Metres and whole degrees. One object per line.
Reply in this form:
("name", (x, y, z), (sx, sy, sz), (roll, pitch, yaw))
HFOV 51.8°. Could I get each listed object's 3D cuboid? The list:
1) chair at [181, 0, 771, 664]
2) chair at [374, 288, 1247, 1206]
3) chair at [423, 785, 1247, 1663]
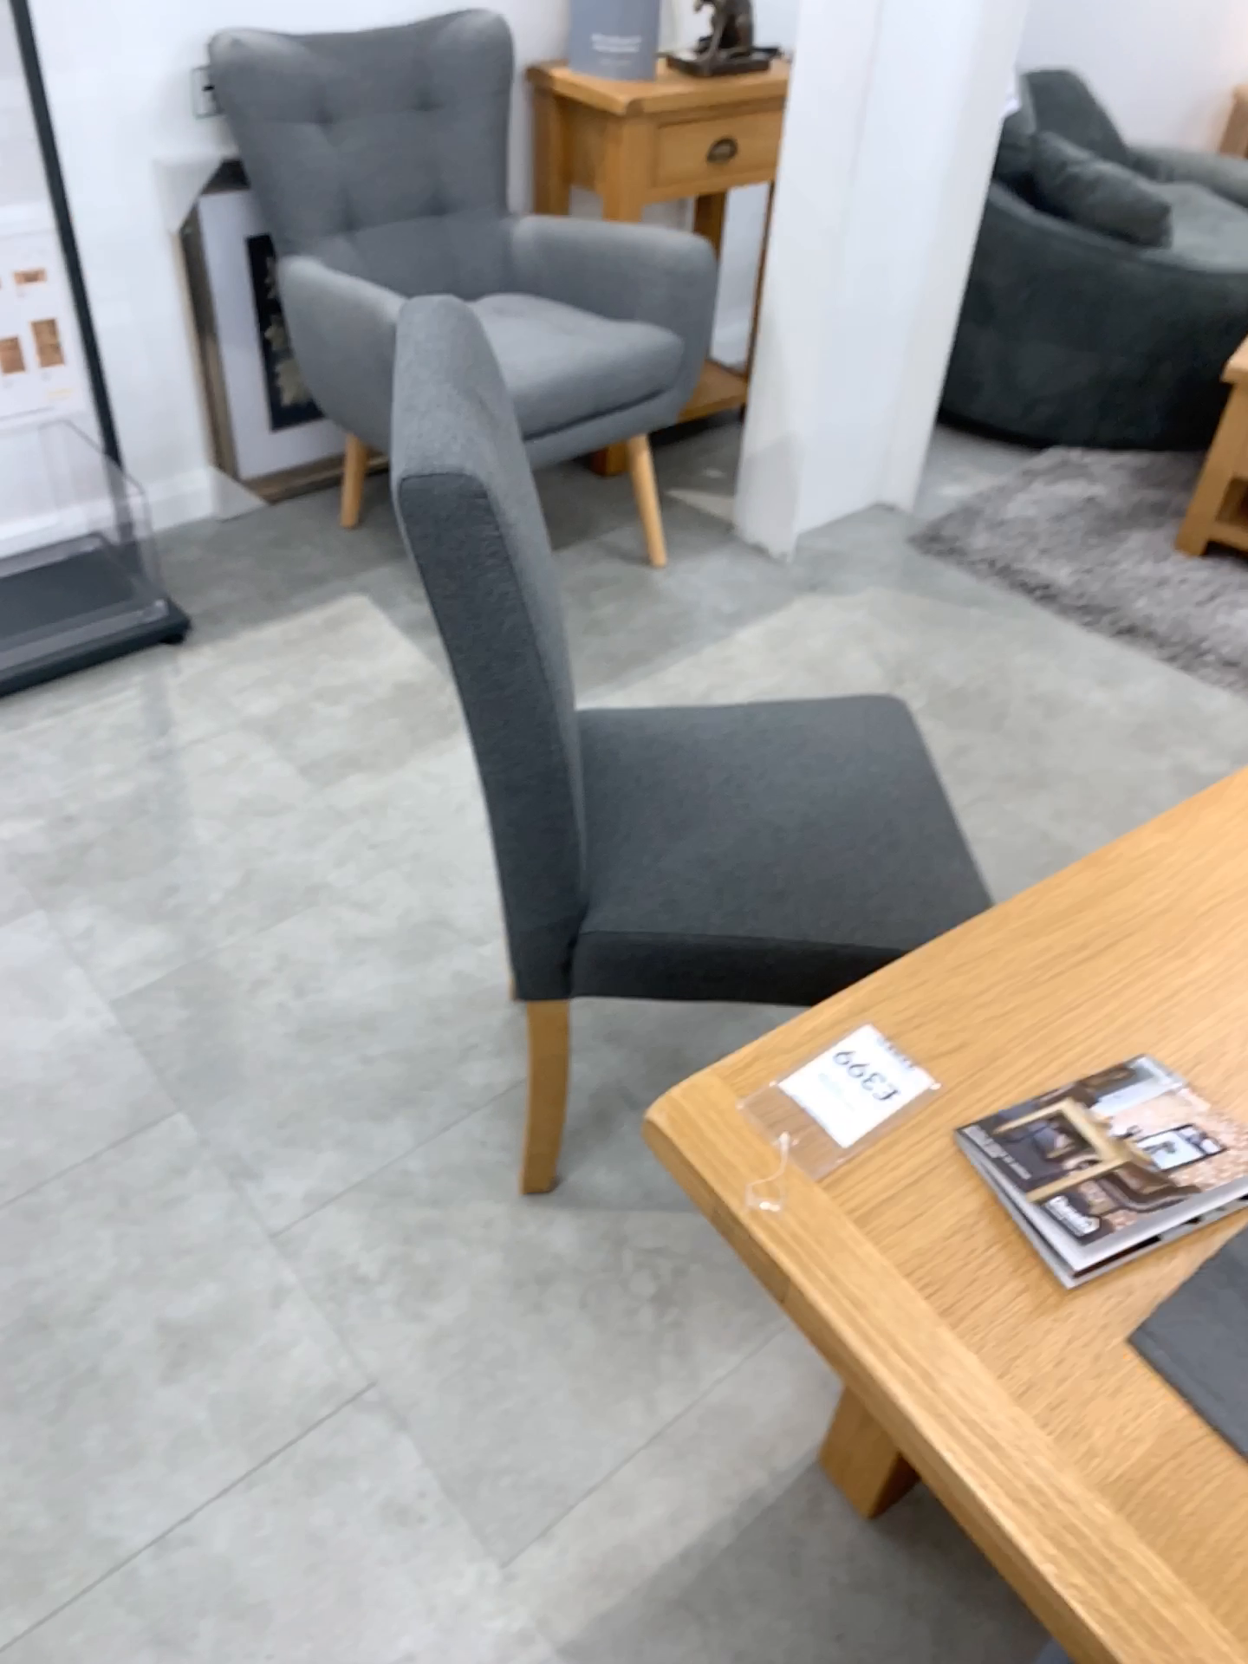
("chair", (-0.240, -0.883, 2.205), (0.667, 0.830, 0.585), (-30, 52, -33))
("chair", (0.106, -0.055, 1.344), (0.642, 0.830, 0.448), (-1, 41, -6))
("chair", (0.326, 0.572, 0.610), (0.624, 0.899, 0.507), (-25, 49, -30))
